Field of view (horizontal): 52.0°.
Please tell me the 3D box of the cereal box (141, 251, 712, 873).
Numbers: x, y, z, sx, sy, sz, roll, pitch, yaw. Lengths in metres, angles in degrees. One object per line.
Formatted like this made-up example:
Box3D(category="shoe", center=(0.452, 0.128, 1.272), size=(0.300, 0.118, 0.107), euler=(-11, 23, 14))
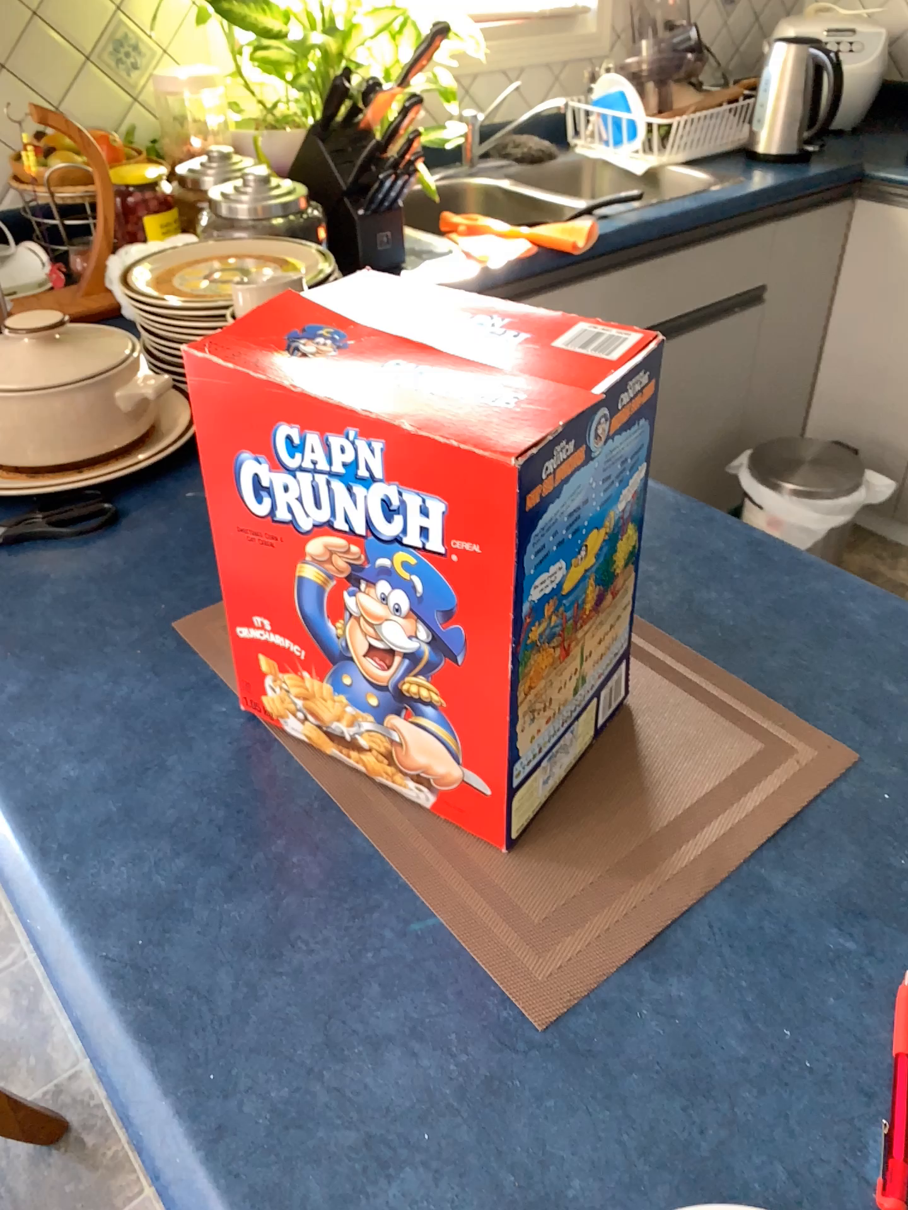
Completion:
Box3D(category="cereal box", center=(-0.013, -0.046, 0.643), size=(0.271, 0.297, 0.211), euler=(22, 42, 29))
